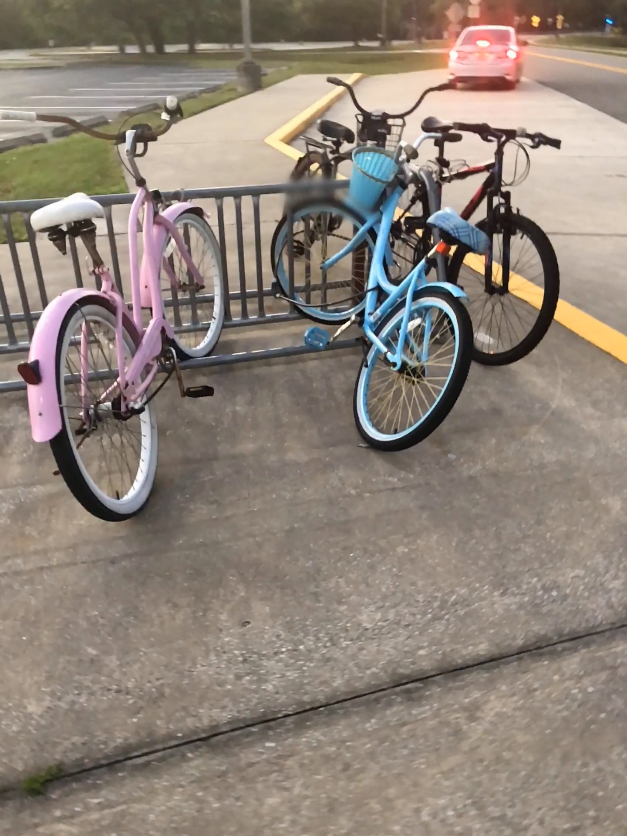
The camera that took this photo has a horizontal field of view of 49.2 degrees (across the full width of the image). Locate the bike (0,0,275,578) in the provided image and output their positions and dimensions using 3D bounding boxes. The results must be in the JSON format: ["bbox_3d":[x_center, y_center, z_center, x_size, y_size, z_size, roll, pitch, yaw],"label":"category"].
[{"bbox_3d":[-0.646,-0.589,2.278,0.771,1.146,1.616,2,36,5],"label":"bike"}]

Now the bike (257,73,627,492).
[{"bbox_3d":[0.341,-0.625,2.627,0.583,0.953,1.425,-12,37,-19],"label":"bike"}]
